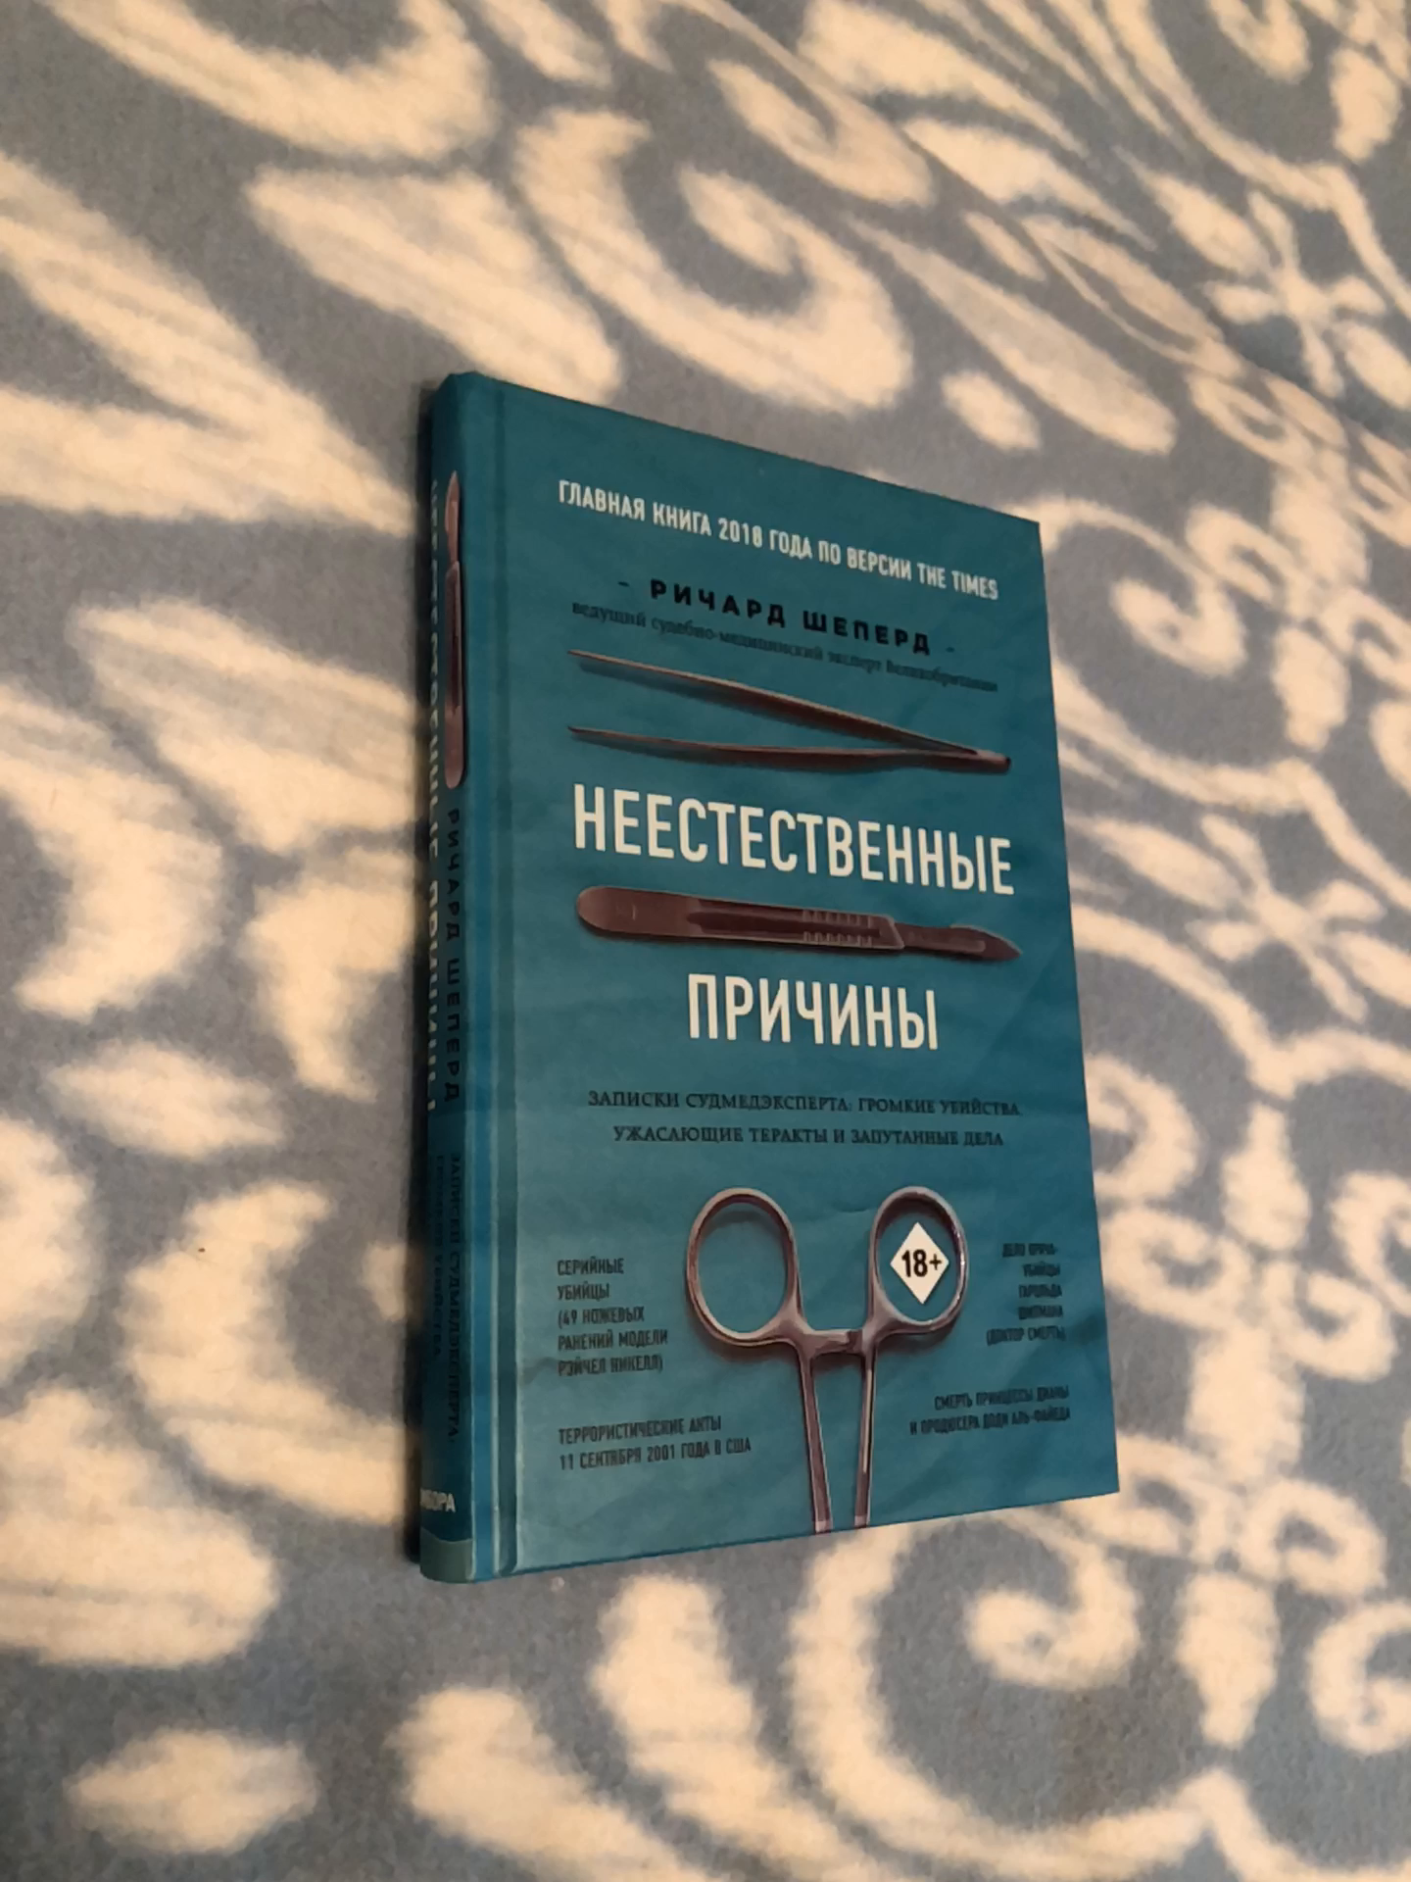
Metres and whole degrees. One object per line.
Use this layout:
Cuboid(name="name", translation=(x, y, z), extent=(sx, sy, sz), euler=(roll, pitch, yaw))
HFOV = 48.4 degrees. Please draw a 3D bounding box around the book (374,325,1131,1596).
Cuboid(name="book", translation=(0.012, 0.002, 0.312), extent=(0.149, 0.025, 0.218), euler=(5, 76, -30))
